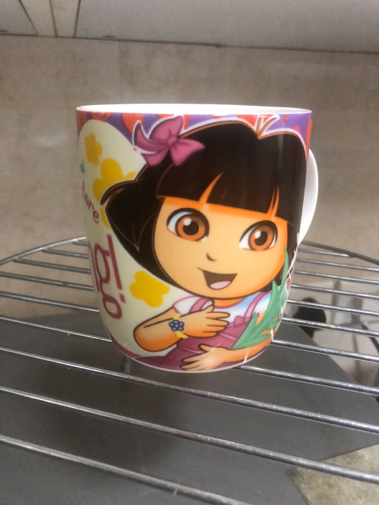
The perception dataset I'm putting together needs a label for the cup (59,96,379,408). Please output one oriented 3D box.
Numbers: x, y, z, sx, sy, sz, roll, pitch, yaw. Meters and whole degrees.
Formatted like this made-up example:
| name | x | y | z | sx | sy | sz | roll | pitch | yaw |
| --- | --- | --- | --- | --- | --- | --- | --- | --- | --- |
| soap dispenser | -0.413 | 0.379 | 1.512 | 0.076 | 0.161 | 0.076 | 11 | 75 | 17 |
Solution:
| name | x | y | z | sx | sy | sz | roll | pitch | yaw |
| --- | --- | --- | --- | --- | --- | --- | --- | --- | --- |
| cup | 0.020 | -0.016 | 0.179 | 0.120 | 0.090 | 0.070 | -13 | 25 | -36 |
